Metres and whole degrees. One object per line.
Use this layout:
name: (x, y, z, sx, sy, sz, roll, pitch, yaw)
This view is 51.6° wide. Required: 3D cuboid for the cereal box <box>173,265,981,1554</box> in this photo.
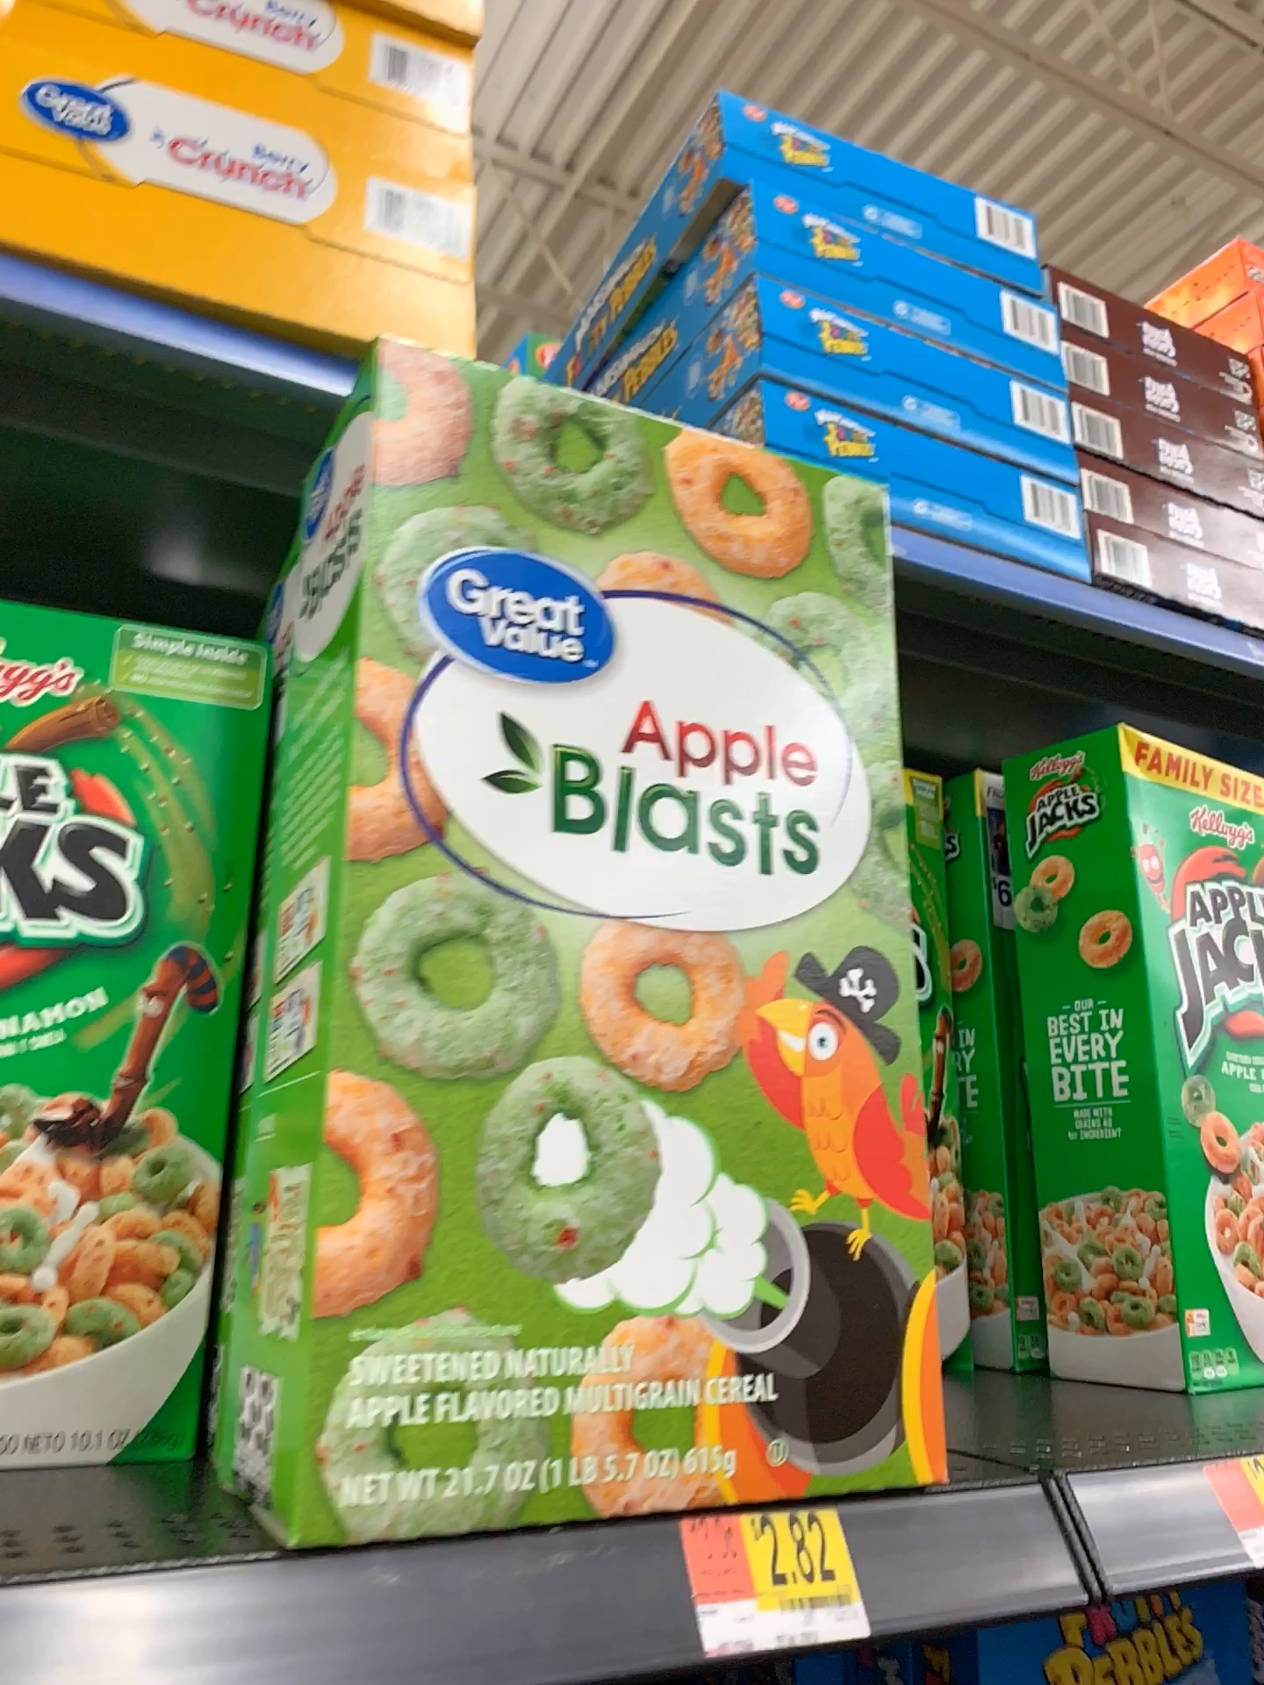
cereal box: (-0.013, 0.019, 0.412, 0.200, 0.331, 0.100, 9, -19, -26)
